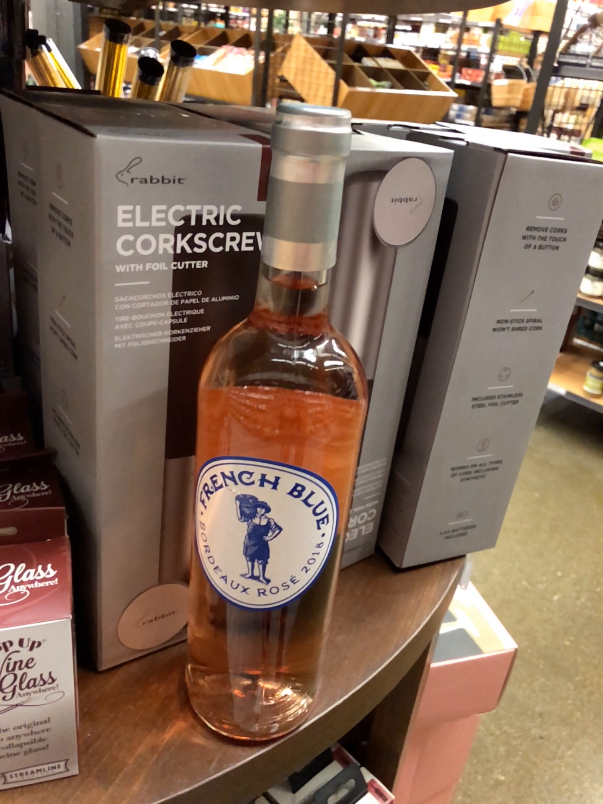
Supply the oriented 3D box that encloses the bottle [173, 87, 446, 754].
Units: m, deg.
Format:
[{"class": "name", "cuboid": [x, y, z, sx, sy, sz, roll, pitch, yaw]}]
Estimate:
[{"class": "bottle", "cuboid": [-0.010, 0.024, 0.299, 0.078, 0.289, 0.080, 5, 27, -3]}]
